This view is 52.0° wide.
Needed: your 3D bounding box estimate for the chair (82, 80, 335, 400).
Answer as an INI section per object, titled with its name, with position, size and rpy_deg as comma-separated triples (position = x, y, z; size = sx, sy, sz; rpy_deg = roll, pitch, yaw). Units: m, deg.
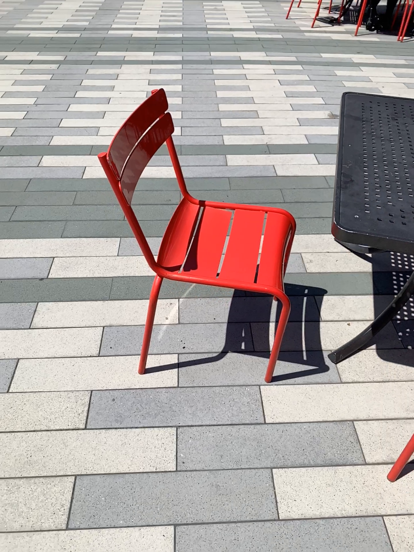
[chair]
position = 0.030, -0.108, 1.454
size = 0.580, 0.845, 0.583
rpy_deg = 8, 43, 6
